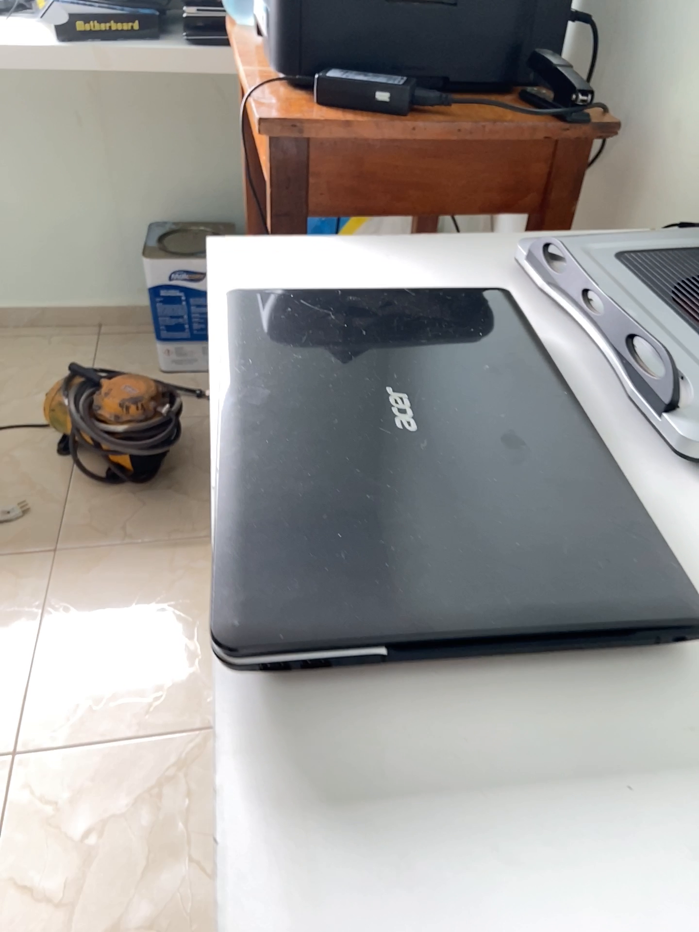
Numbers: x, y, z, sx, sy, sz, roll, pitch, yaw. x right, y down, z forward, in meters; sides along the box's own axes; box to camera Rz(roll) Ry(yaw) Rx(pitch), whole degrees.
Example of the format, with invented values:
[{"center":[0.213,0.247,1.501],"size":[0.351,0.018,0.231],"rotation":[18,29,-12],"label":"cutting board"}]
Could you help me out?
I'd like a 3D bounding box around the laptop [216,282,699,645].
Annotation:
[{"center":[0.037,-0.036,0.452],"size":[0.230,0.005,0.337],"rotation":[-1,40,-8],"label":"laptop"}]
